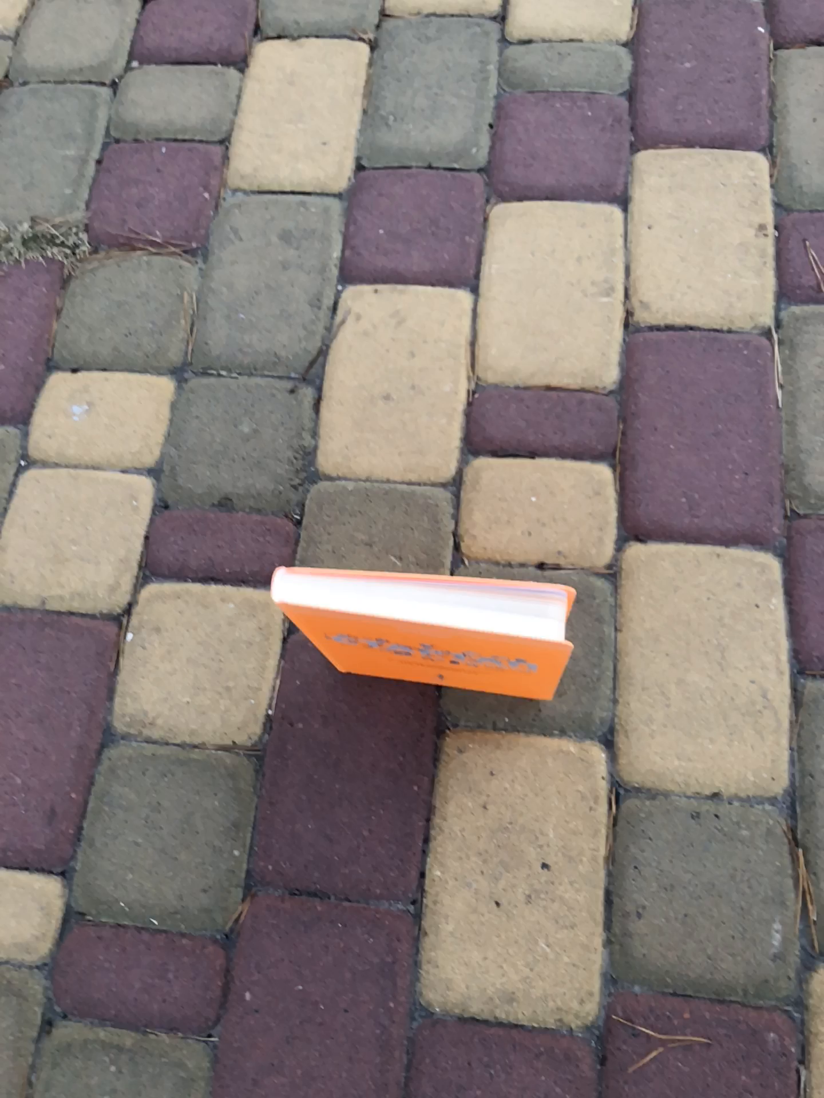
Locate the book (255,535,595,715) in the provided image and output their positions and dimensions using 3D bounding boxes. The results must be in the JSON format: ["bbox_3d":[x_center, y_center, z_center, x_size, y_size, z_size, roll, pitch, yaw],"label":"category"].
[{"bbox_3d":[0.015,0.053,0.540,0.164,0.201,0.040,7,72,8],"label":"book"}]
